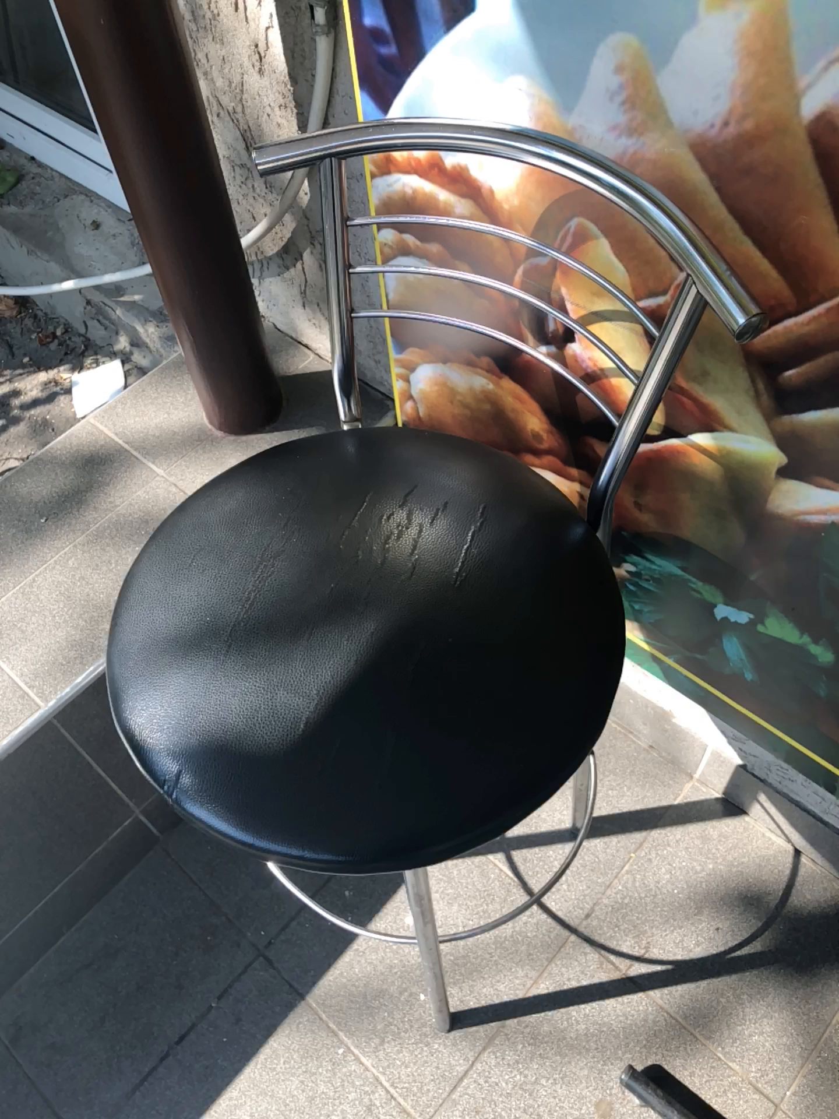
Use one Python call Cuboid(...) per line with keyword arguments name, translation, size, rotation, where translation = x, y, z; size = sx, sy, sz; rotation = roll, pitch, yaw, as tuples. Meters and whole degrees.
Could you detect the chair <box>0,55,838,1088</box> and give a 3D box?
Cuboid(name="chair", translation=(0.004, 0.145, 1.052), size=(0.510, 1.097, 0.501), rotation=(21, 59, 19))
